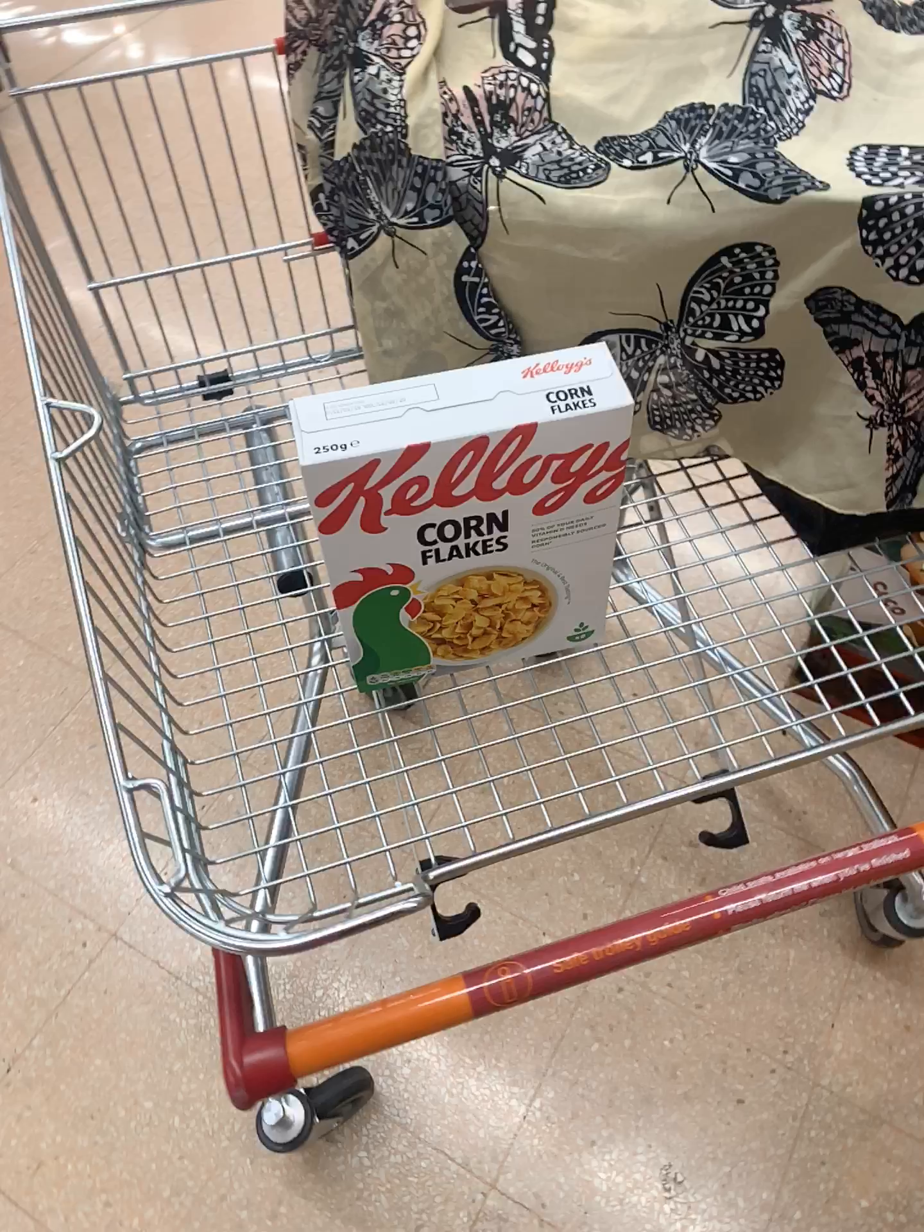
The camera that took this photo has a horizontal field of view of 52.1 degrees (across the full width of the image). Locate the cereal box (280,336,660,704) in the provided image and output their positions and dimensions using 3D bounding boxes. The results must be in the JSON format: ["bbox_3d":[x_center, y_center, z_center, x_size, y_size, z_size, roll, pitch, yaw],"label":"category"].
[{"bbox_3d":[0.006,-0.049,0.615,0.200,0.238,0.060,-12,55,-7],"label":"cereal box"}]
